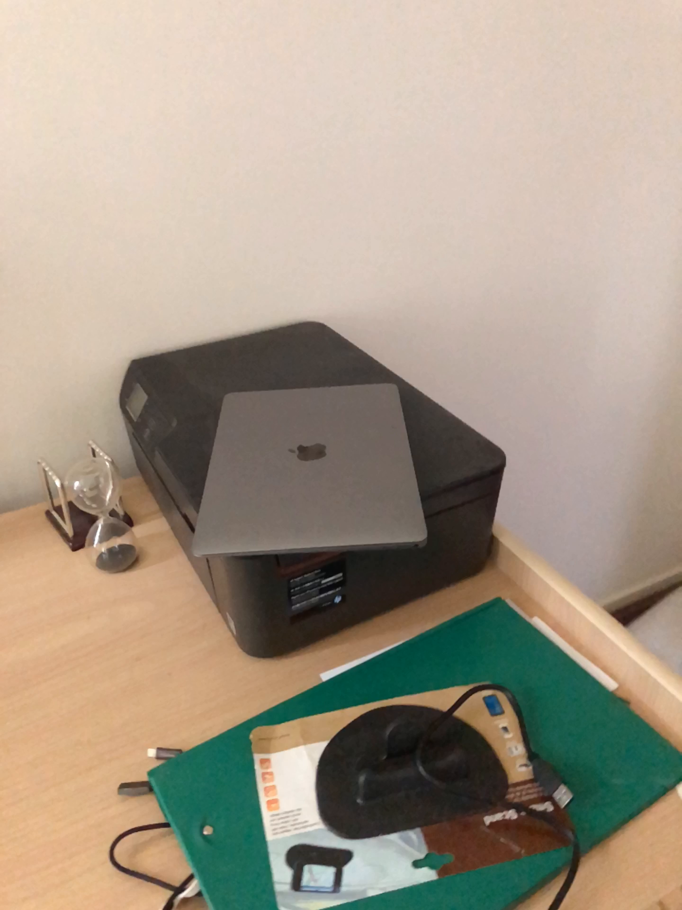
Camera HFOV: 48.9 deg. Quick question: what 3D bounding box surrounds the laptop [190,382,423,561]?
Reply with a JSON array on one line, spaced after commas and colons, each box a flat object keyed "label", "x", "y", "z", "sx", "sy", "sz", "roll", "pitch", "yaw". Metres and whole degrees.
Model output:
[{"label": "laptop", "x": -0.031, "y": 0.003, "z": 0.718, "sx": 0.188, "sy": 0.007, "sz": 0.267, "roll": -4, "pitch": 34, "yaw": 1}]
